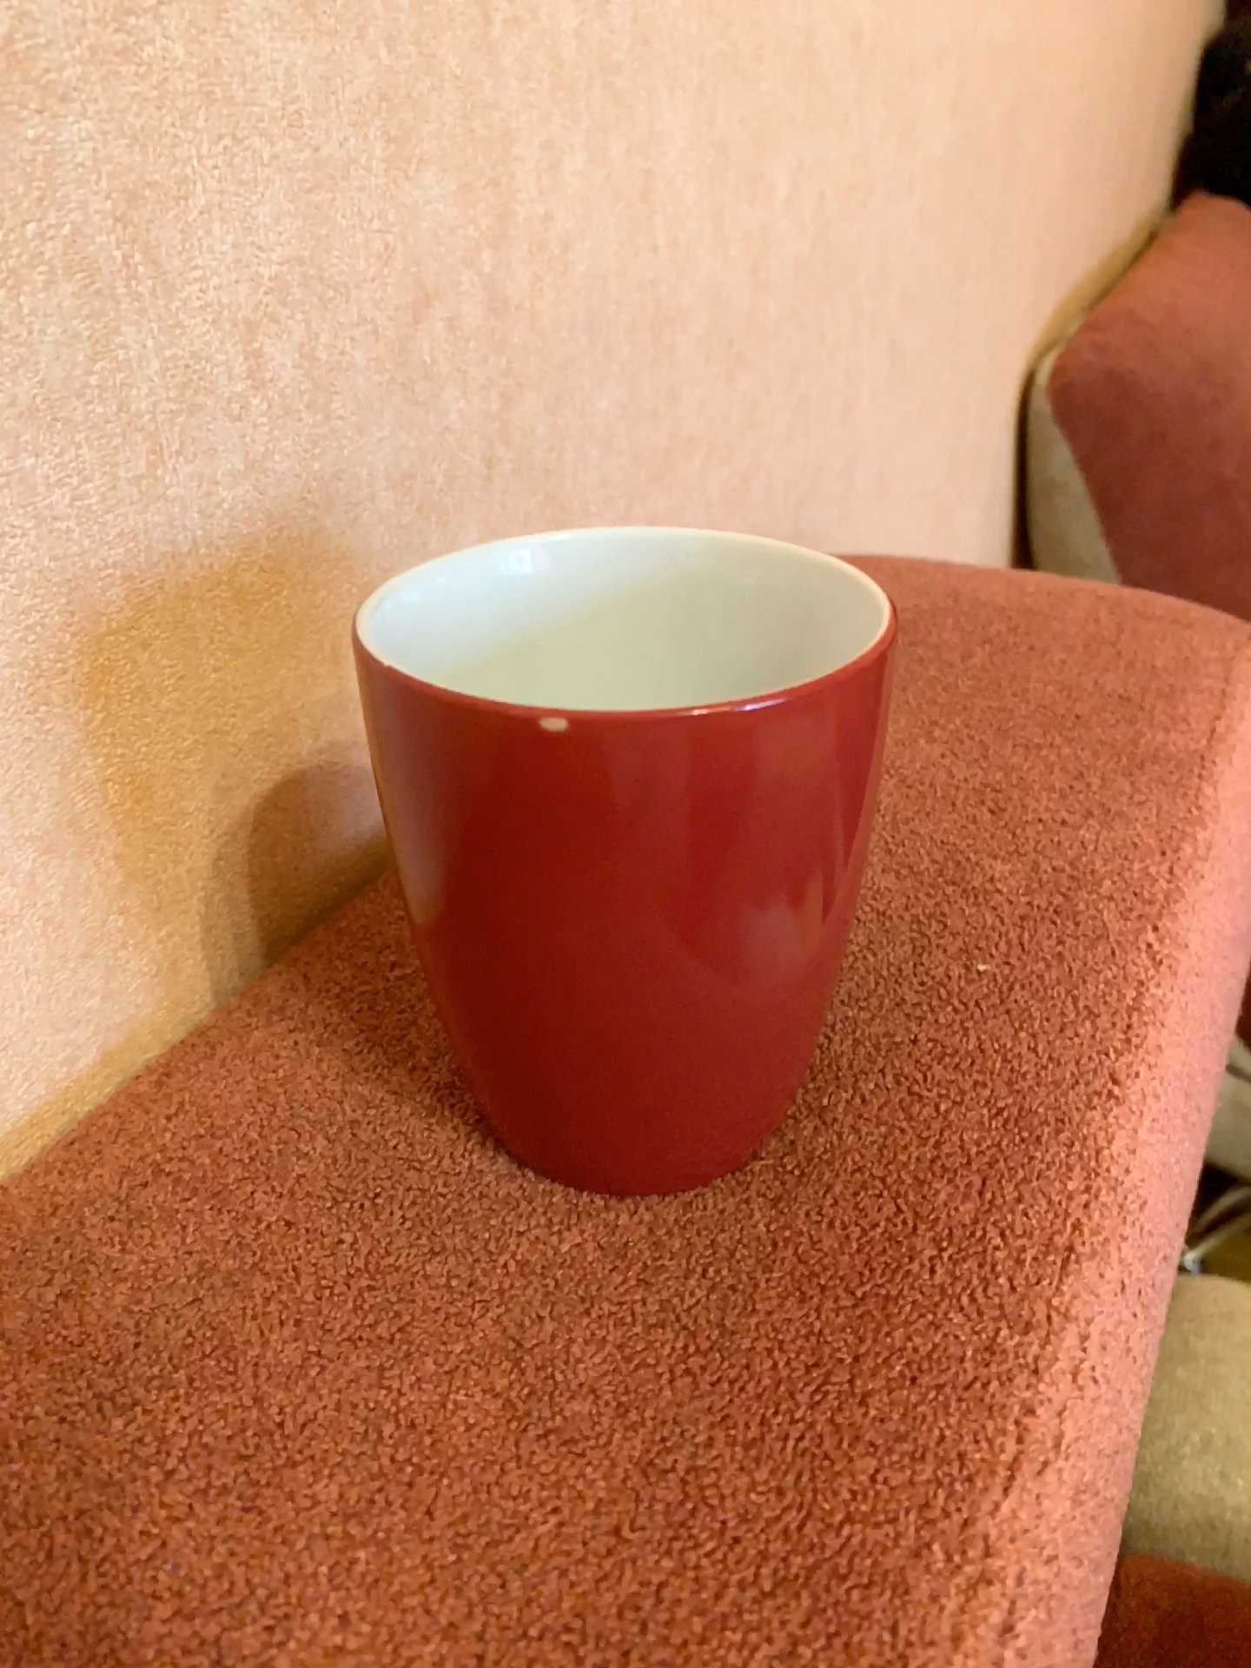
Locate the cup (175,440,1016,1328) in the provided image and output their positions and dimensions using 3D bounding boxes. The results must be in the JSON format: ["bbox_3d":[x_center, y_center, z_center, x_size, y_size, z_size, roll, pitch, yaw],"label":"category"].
[{"bbox_3d":[0.004,-0.005,0.231,0.083,0.091,0.122,17,35,26],"label":"cup"}]
